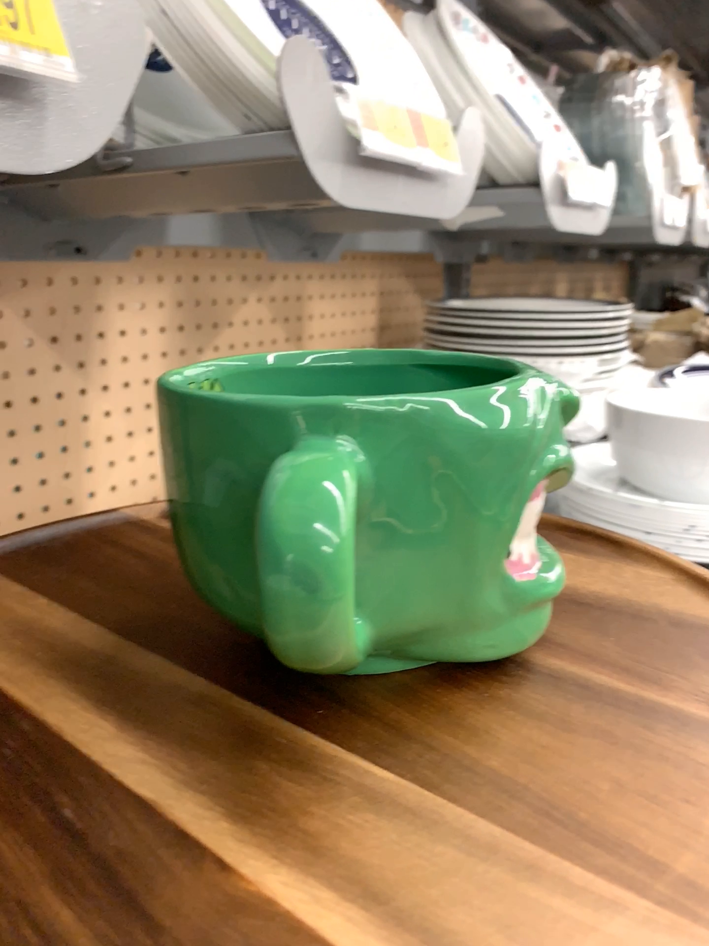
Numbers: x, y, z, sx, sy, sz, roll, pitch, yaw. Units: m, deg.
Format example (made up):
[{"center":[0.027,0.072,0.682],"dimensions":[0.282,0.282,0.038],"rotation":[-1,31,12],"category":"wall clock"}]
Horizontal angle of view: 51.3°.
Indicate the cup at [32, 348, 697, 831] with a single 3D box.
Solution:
[{"center":[0.005,0.015,0.223],"dimensions":[0.130,0.090,0.140],"rotation":[0,15,0],"category":"cup"}]
